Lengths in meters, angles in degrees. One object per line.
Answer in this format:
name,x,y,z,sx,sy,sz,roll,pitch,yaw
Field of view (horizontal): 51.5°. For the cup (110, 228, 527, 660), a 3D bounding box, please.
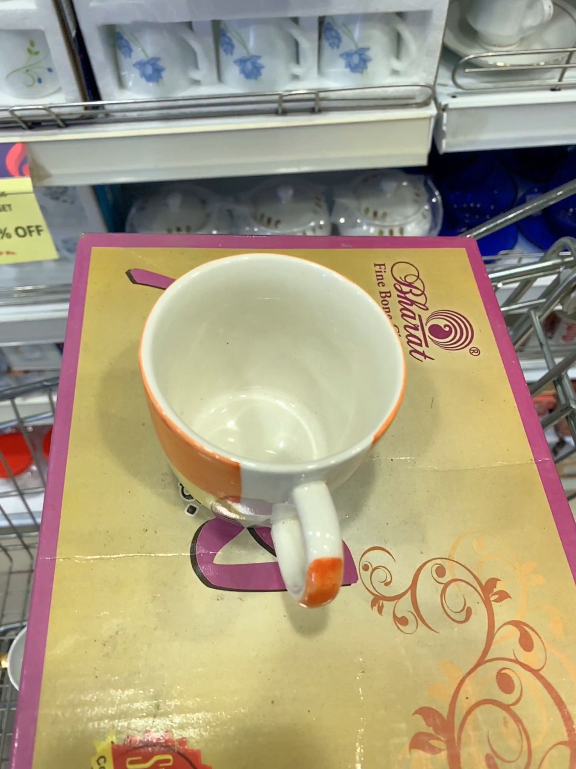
cup,-0.002,0.016,0.172,0.080,0.070,0.090,-8,58,-13
